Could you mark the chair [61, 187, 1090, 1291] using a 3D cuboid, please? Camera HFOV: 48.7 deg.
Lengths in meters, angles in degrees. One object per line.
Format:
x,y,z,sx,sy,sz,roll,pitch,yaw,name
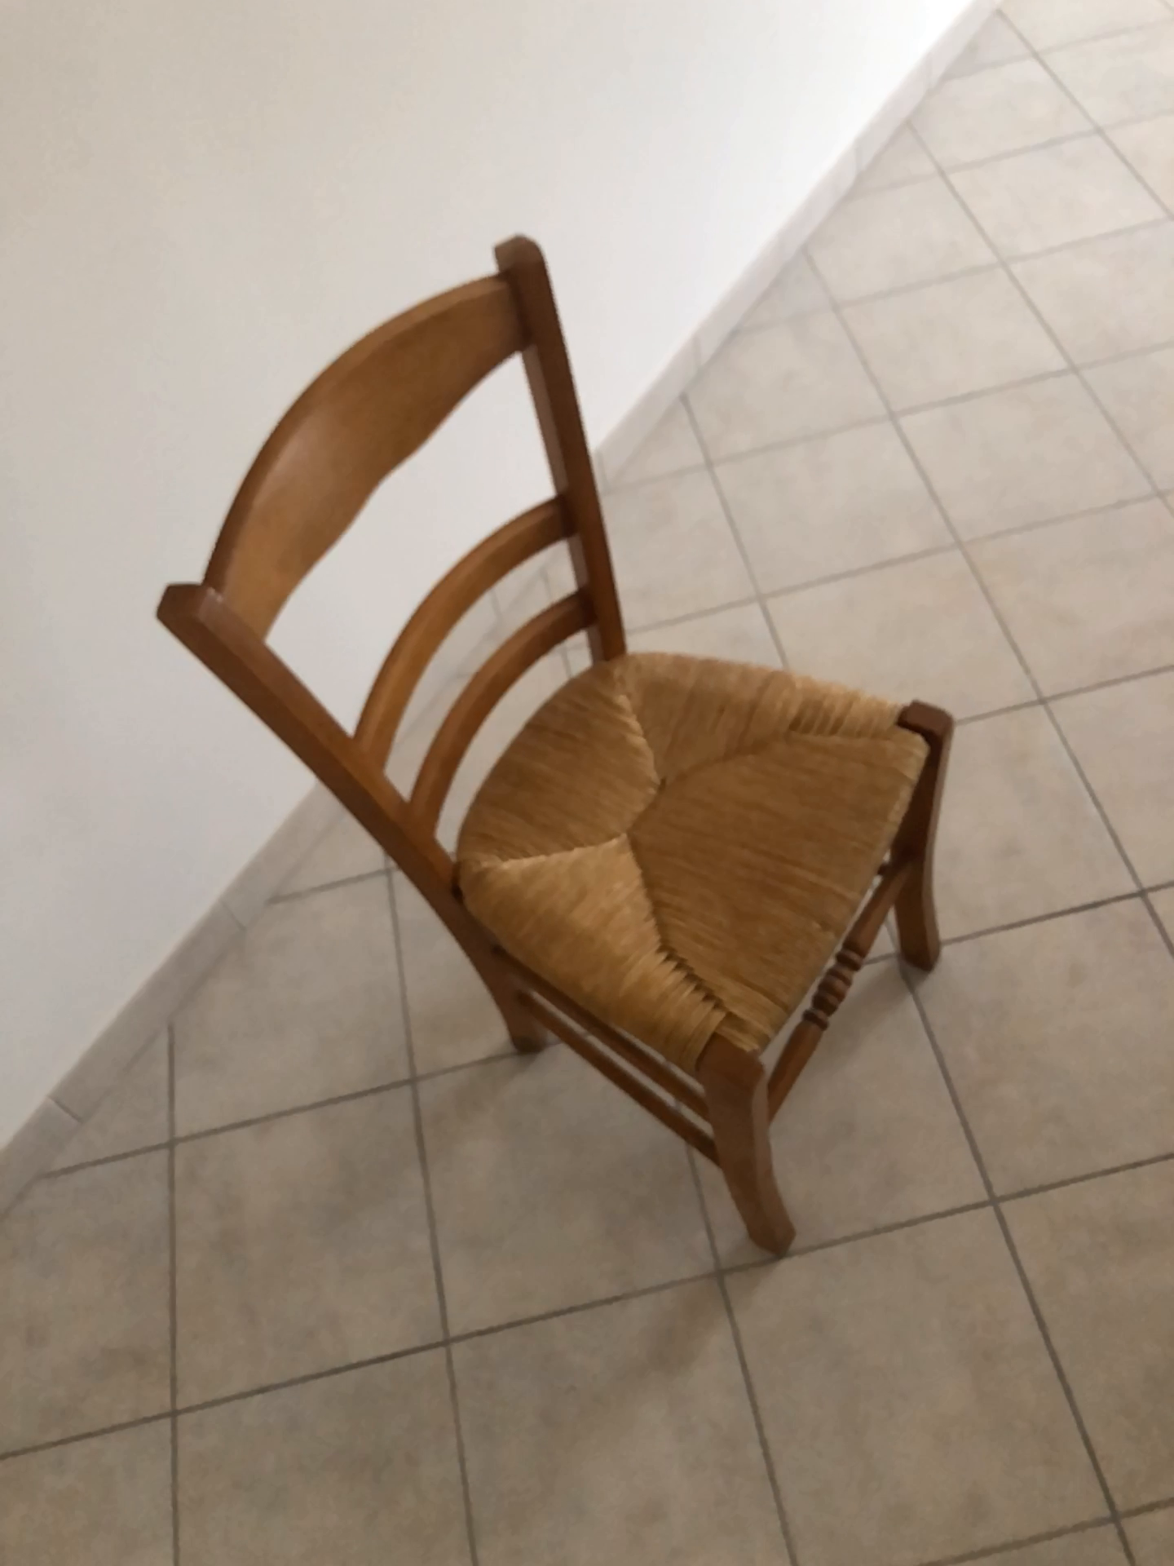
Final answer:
0.054,0.021,1.161,0.500,0.827,0.452,23,63,24,chair
